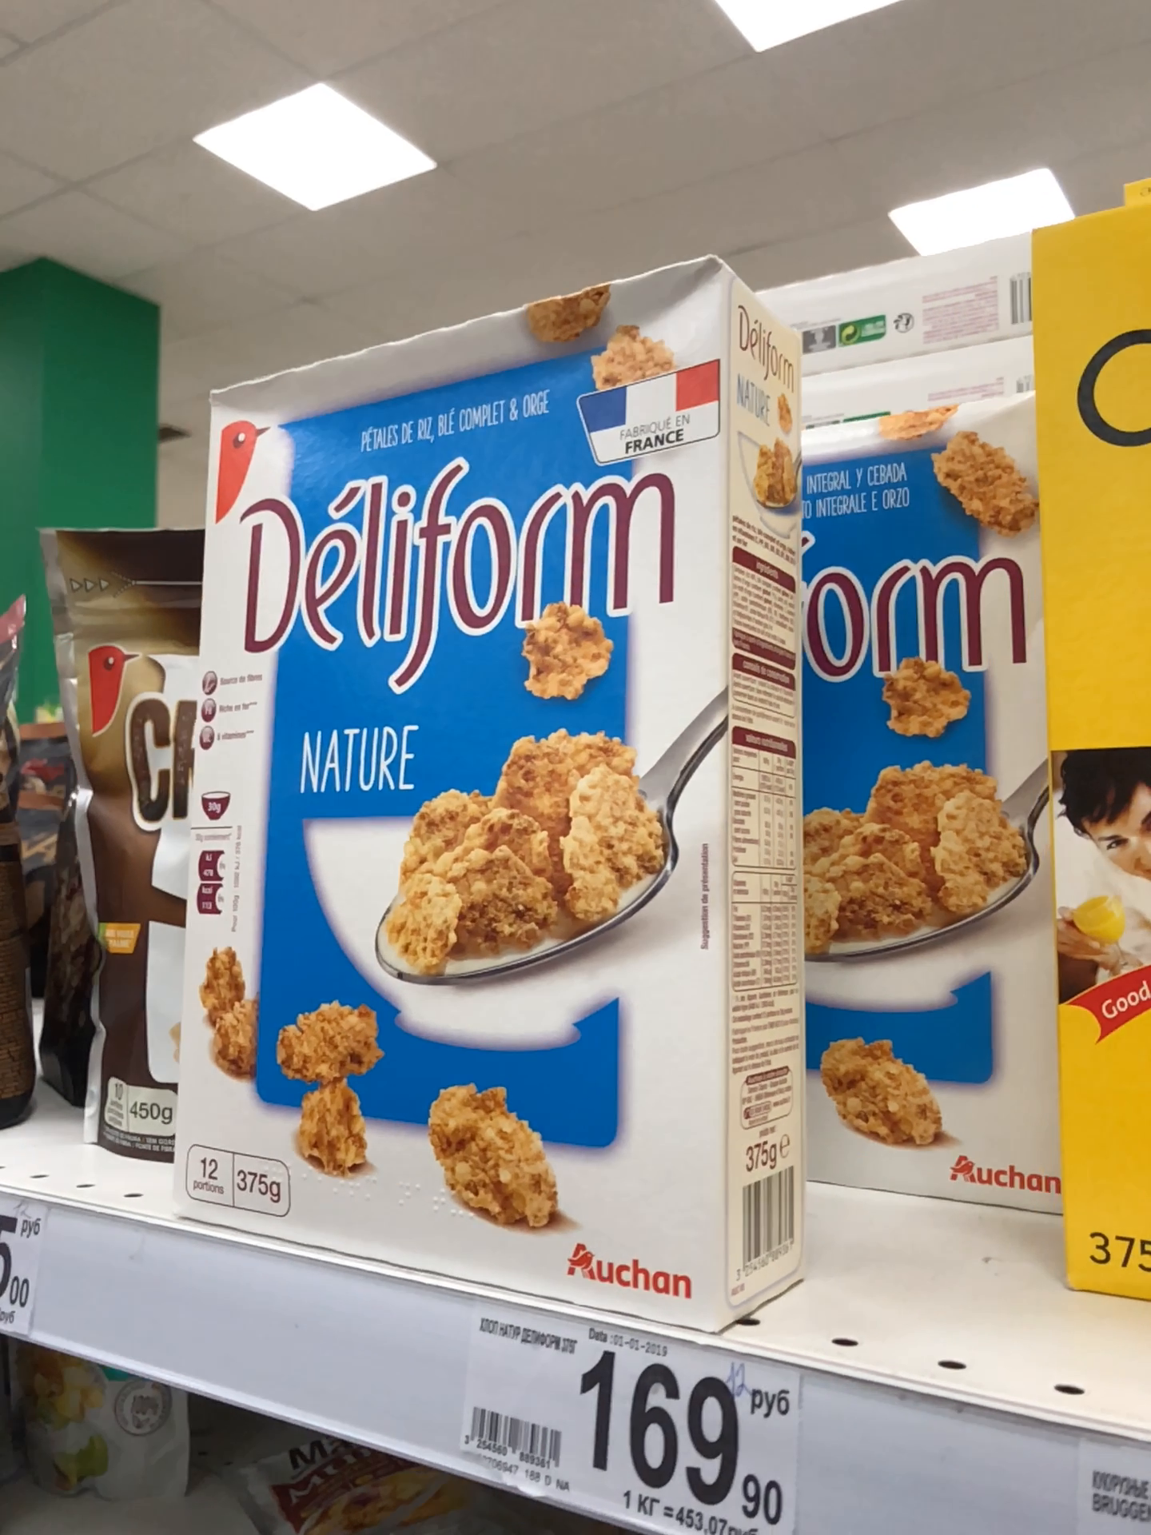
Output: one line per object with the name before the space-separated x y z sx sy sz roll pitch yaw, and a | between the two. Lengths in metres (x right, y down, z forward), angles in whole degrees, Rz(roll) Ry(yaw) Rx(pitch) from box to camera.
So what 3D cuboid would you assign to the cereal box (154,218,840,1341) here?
cereal box | -0.028 0.003 0.383 0.200 0.270 0.060 -3 -7 31
